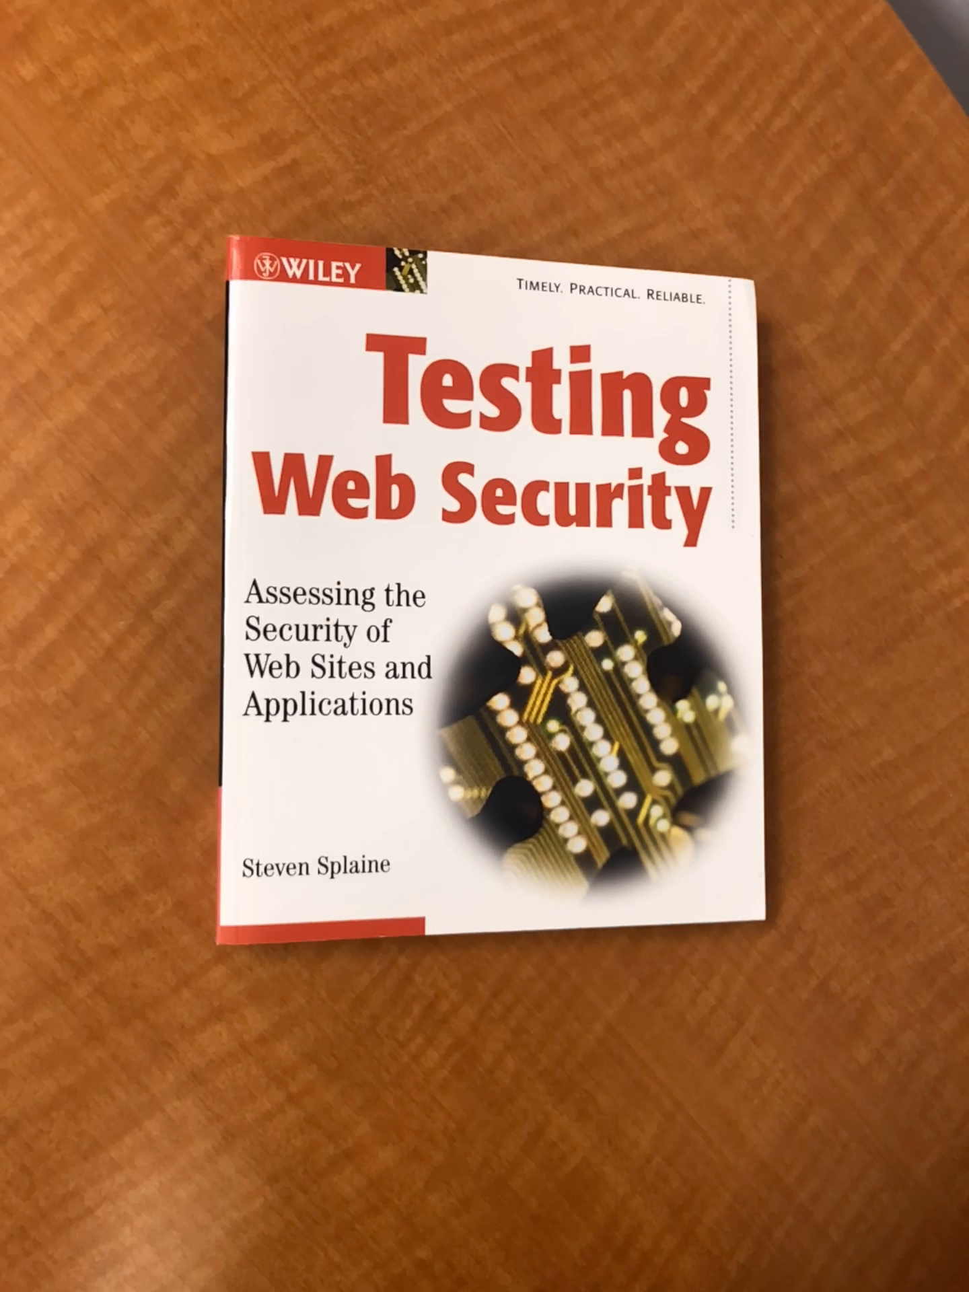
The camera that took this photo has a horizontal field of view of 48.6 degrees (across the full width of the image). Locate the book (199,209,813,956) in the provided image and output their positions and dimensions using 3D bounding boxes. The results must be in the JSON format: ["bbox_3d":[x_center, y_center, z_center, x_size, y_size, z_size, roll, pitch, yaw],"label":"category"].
[{"bbox_3d":[0.010,-0.020,0.364,0.200,0.030,0.230,1,86,-12],"label":"book"}]
